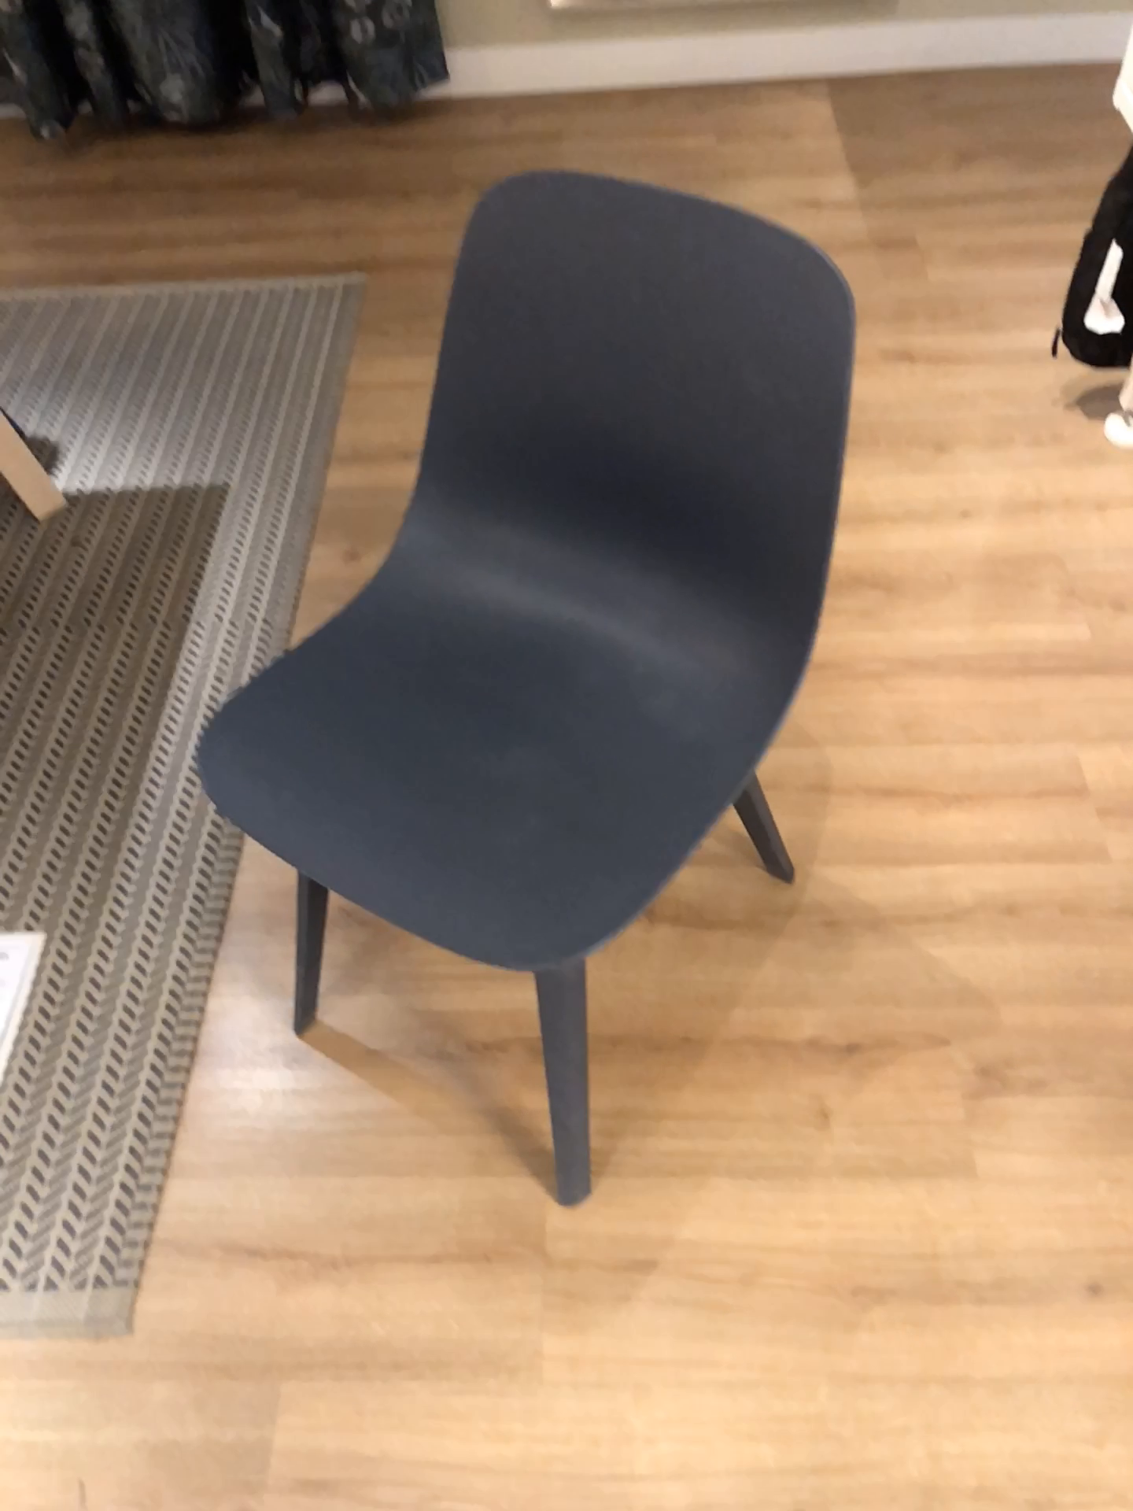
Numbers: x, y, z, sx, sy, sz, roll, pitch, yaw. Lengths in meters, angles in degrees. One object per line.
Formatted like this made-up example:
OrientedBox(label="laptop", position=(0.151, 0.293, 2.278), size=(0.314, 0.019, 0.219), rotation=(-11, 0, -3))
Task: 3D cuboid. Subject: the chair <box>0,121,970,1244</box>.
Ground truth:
OrientedBox(label="chair", position=(-0.034, -0.050, 1.141), size=(0.470, 0.728, 0.561), rotation=(25, 55, 23))
